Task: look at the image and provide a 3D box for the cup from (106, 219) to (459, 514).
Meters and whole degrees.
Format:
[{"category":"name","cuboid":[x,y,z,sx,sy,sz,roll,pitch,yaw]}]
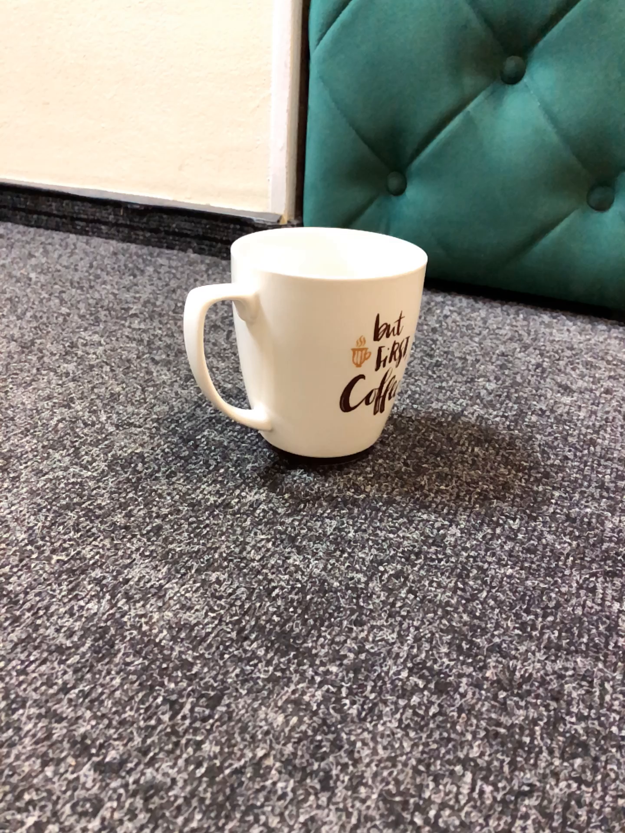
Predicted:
[{"category":"cup","cuboid":[-0.014,-0.040,0.375,0.110,0.100,0.146,25,34,38]}]
